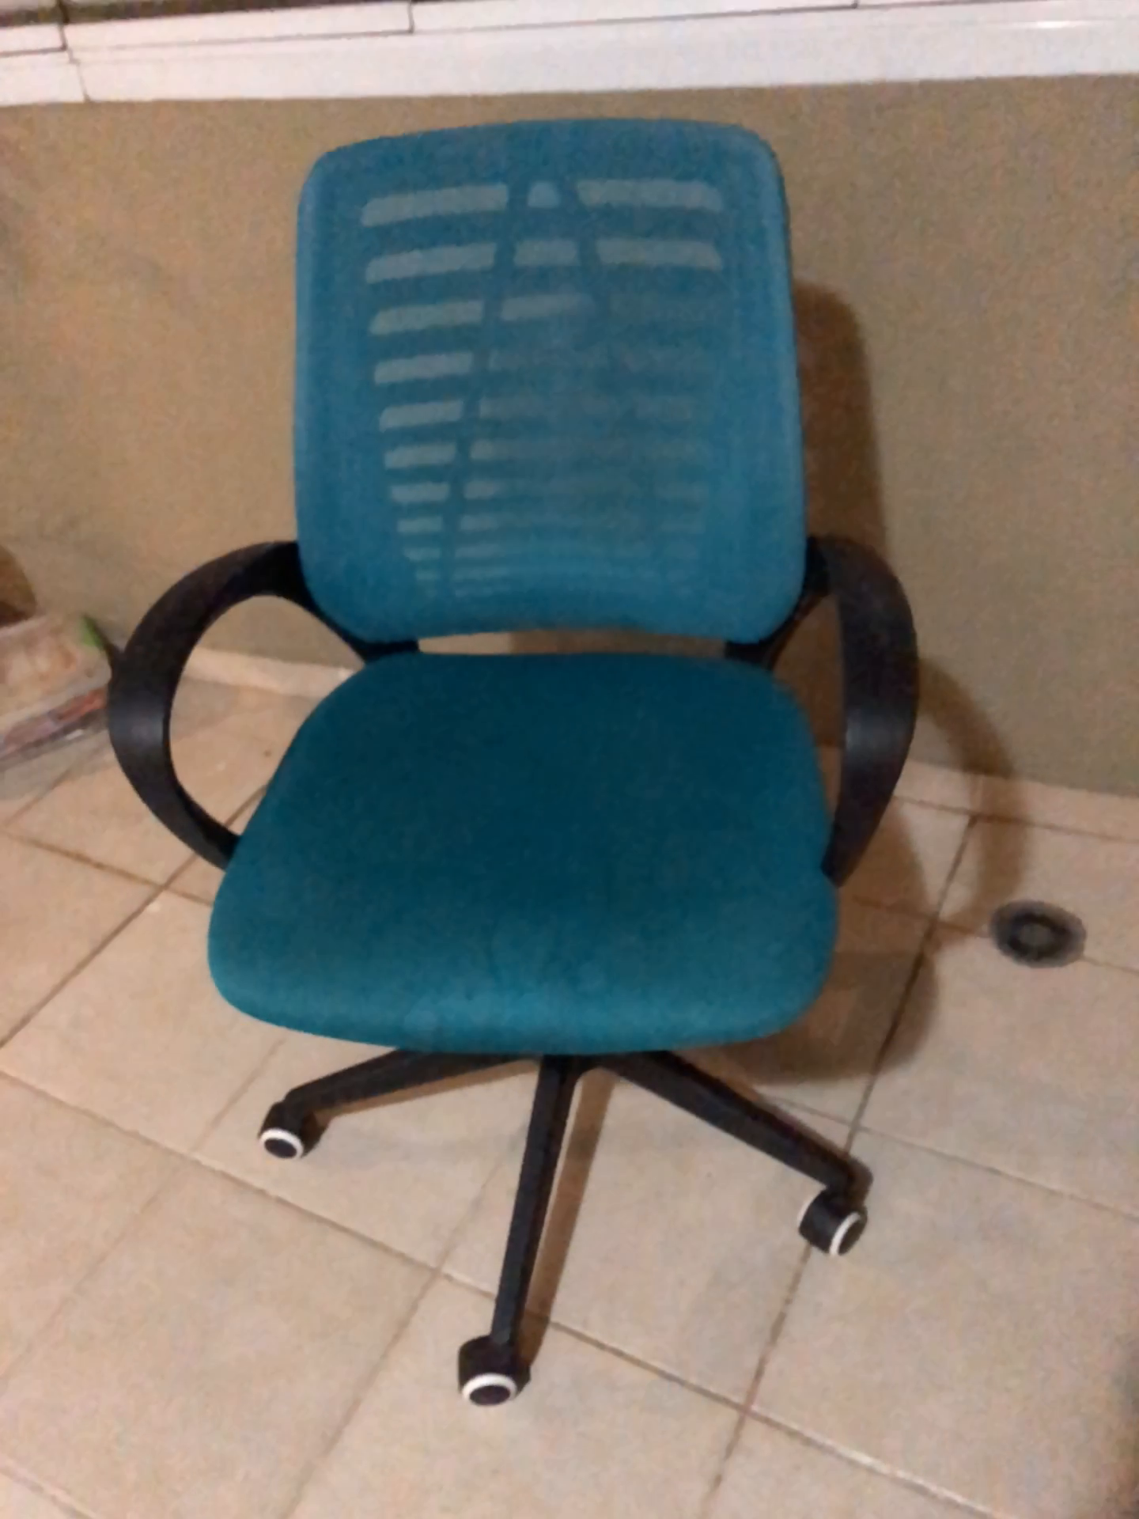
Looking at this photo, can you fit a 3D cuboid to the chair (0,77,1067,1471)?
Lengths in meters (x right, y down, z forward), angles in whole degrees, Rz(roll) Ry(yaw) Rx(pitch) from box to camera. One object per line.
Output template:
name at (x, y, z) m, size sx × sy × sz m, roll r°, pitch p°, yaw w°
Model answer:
chair at (-0.044, 0.006, 1.138) m, size 0.710 × 0.923 × 0.745 m, roll 0°, pitch 38°, yaw 11°
